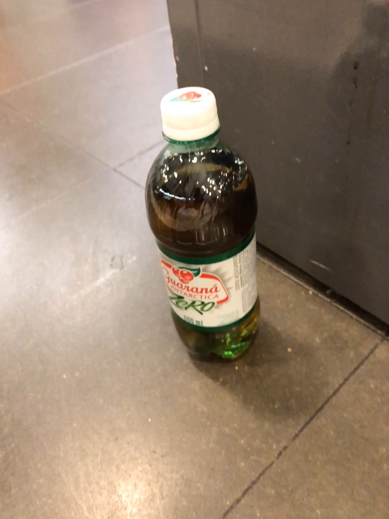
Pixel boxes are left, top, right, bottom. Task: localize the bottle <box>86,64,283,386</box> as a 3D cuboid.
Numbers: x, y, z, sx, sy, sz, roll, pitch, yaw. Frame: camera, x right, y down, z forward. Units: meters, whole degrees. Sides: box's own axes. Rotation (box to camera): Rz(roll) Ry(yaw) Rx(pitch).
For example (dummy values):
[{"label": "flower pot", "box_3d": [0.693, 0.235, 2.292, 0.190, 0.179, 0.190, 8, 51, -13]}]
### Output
[{"label": "bottle", "box_3d": [0.005, -0.012, 0.305, 0.080, 0.208, 0.070, 24, 52, 29]}]
